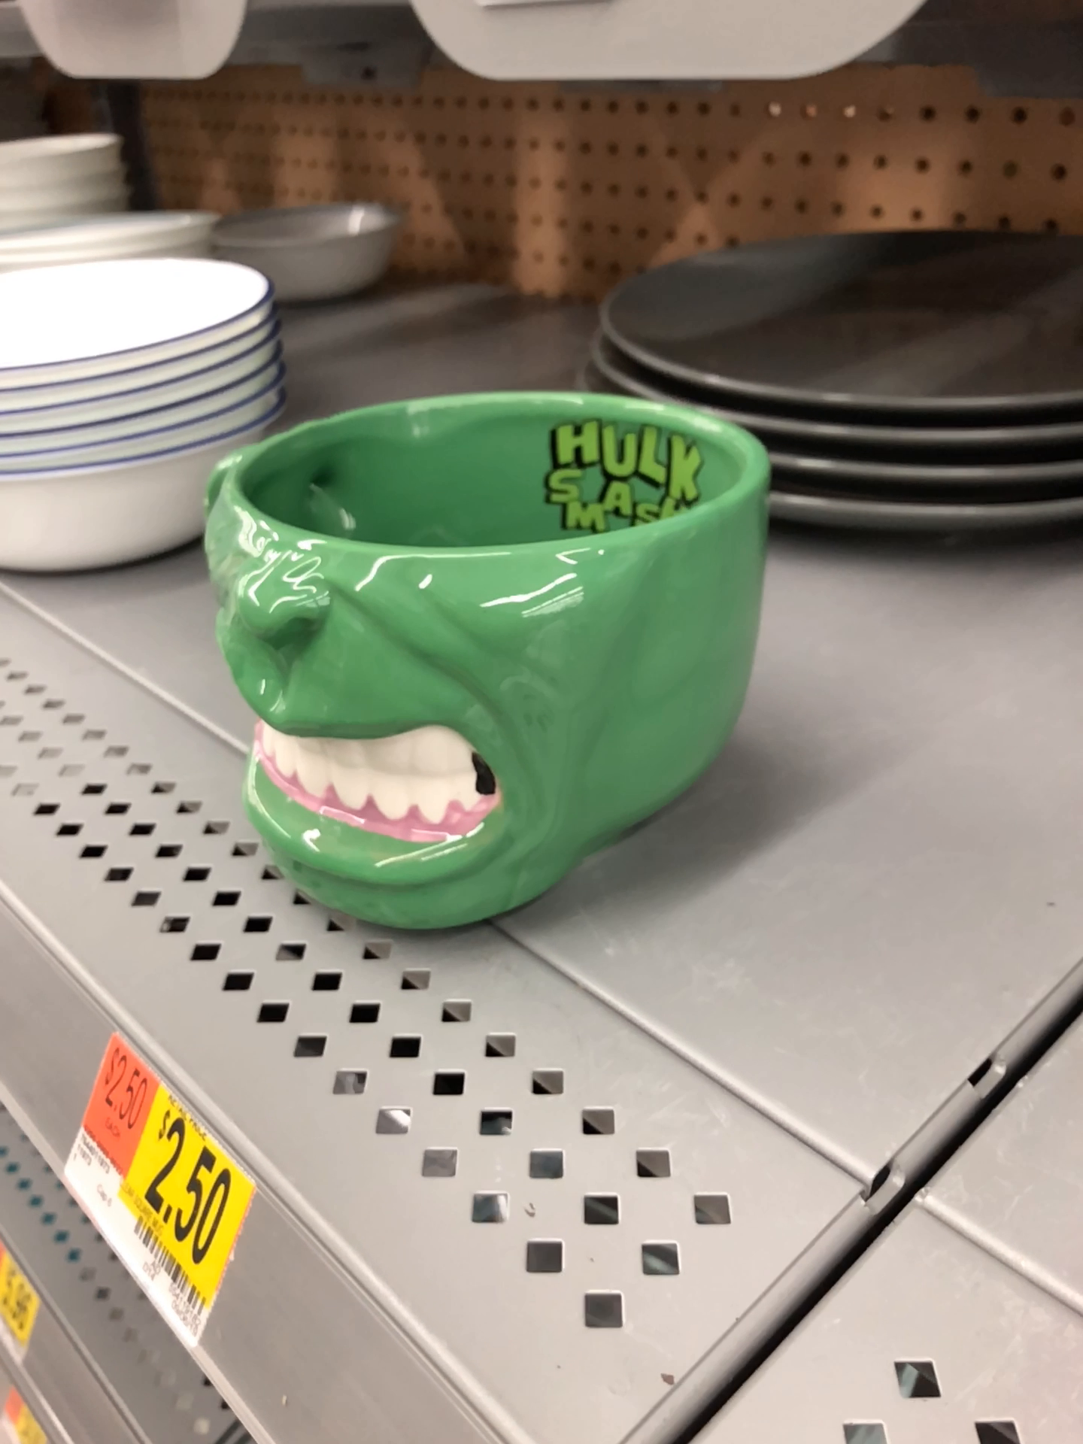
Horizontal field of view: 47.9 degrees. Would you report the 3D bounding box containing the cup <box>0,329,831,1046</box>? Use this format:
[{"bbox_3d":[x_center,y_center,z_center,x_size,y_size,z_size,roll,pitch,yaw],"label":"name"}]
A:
[{"bbox_3d":[-0.031,-0.025,0.285,0.148,0.089,0.115,25,40,38],"label":"cup"}]
